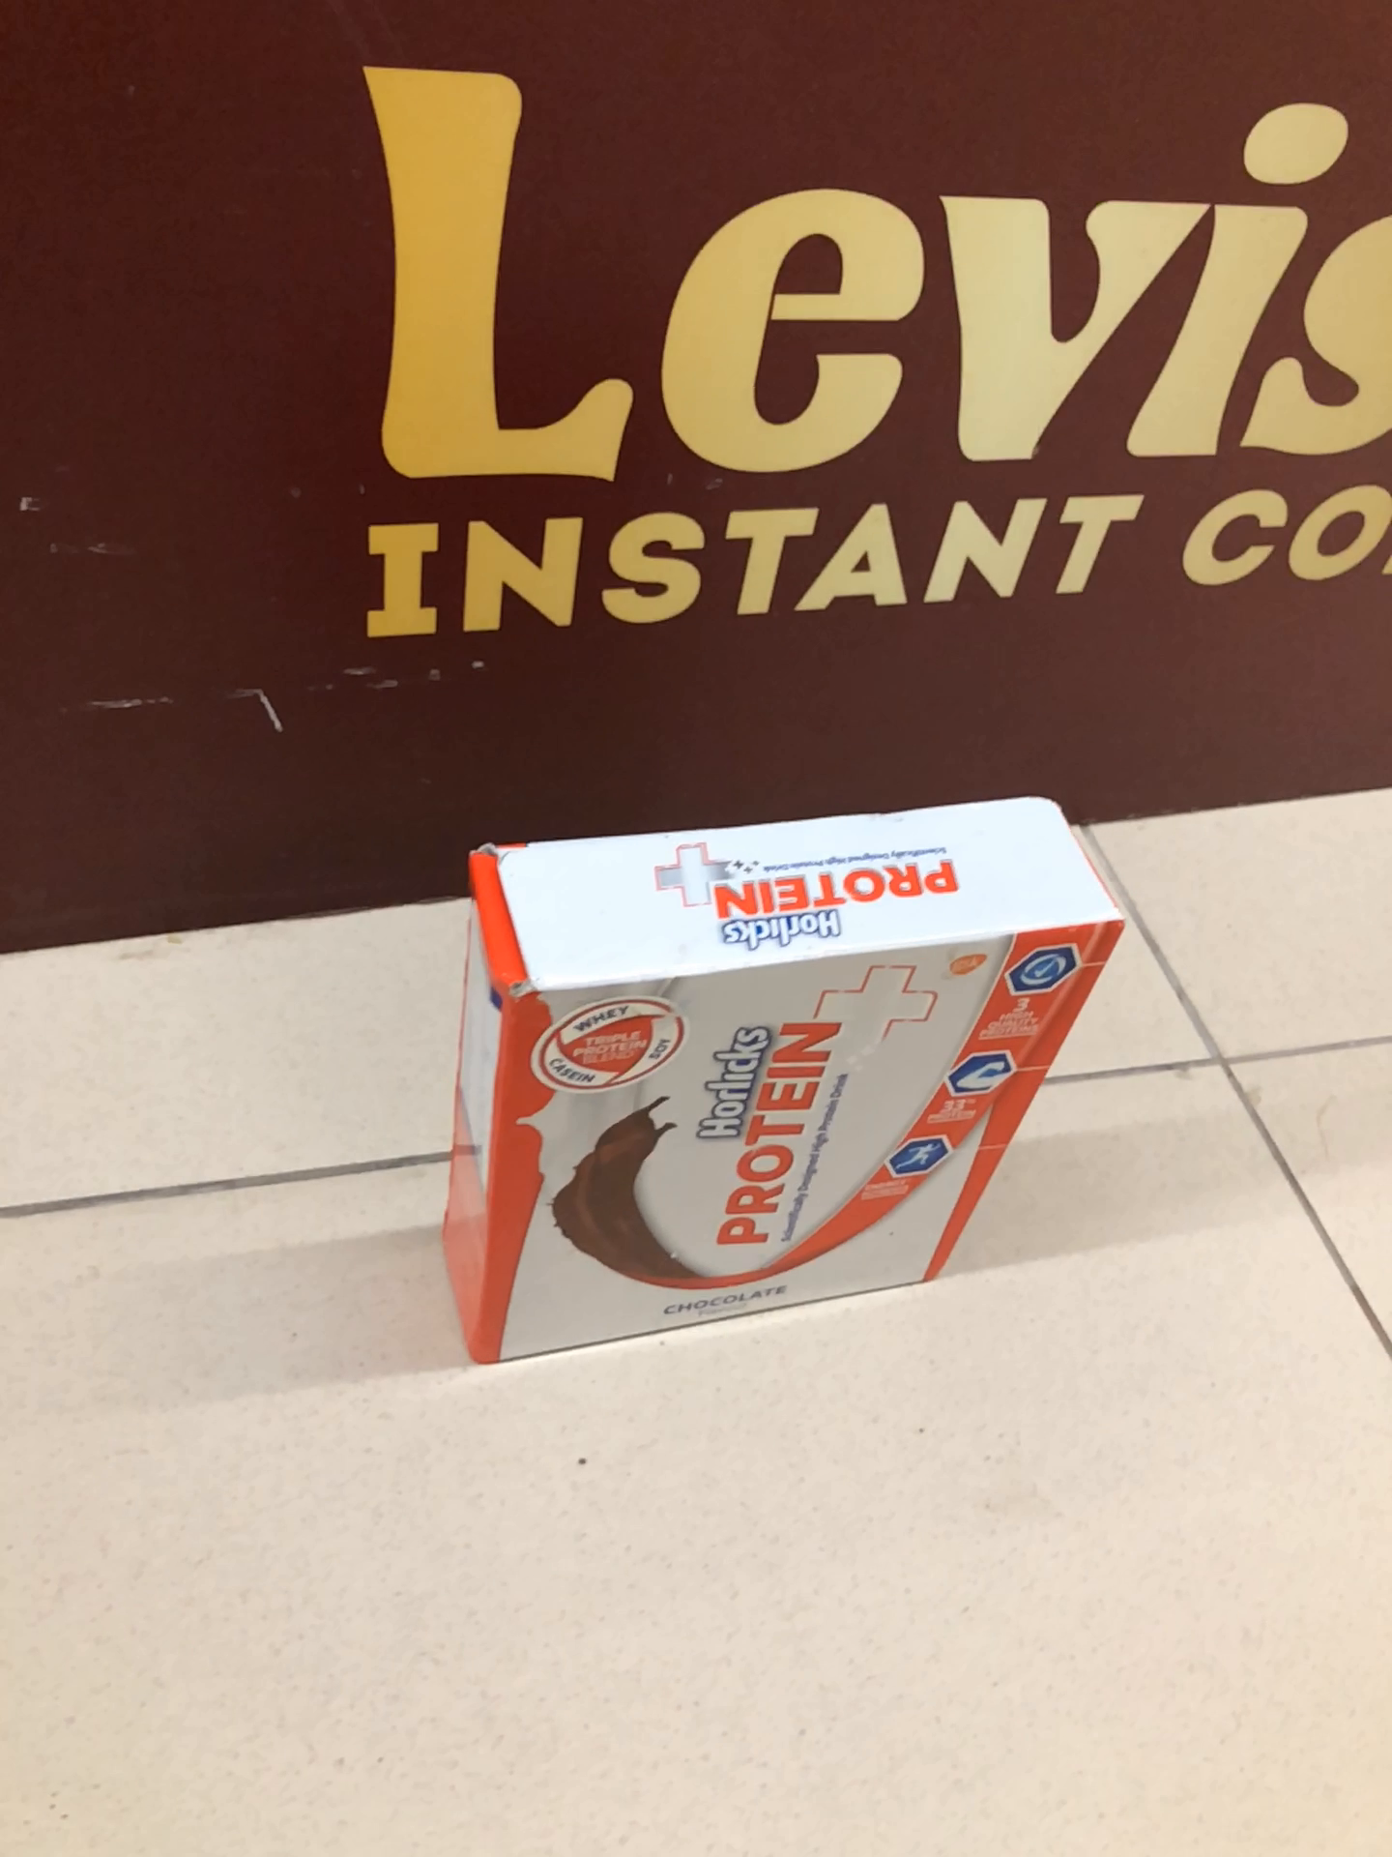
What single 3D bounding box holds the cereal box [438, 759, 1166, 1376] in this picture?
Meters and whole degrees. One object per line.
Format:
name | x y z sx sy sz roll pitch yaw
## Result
cereal box | 0.014 0.037 0.373 0.140 0.149 0.050 -6 49 -18
